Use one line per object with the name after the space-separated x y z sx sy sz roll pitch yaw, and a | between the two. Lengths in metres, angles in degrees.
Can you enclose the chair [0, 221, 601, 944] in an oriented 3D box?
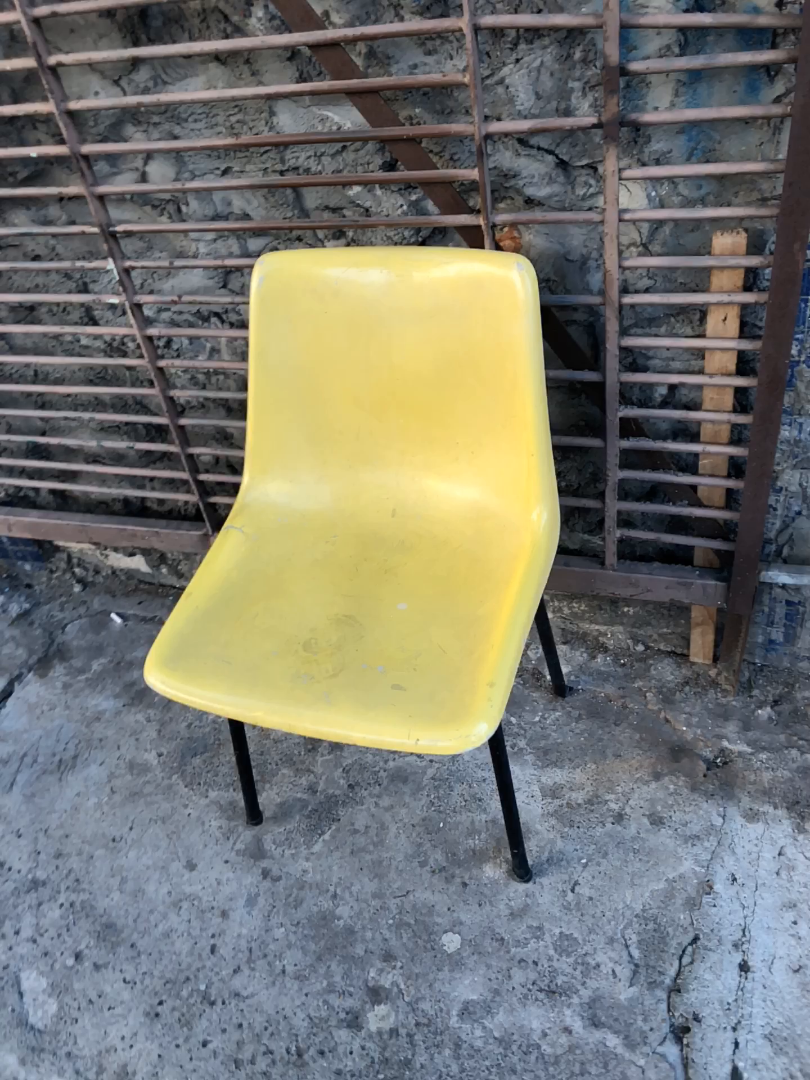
-0.043 0.046 1.124 0.481 0.714 0.473 6 41 21 | chair
